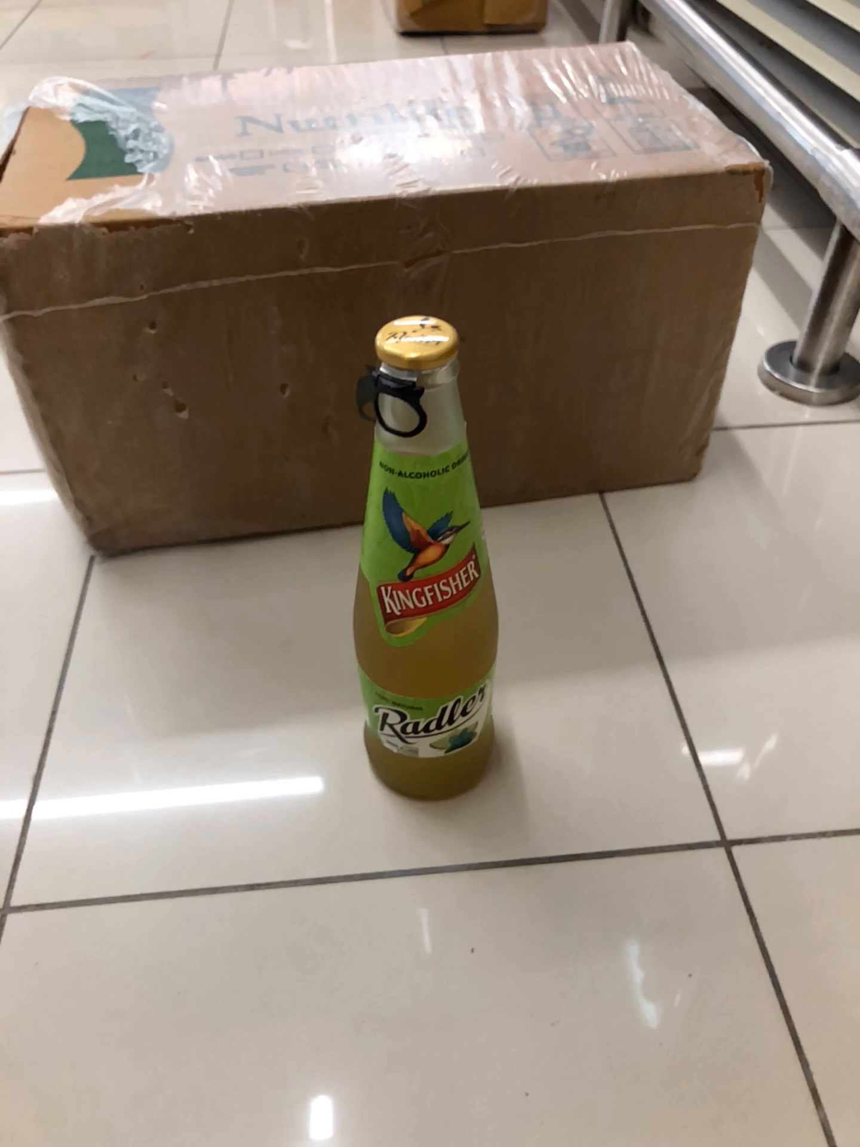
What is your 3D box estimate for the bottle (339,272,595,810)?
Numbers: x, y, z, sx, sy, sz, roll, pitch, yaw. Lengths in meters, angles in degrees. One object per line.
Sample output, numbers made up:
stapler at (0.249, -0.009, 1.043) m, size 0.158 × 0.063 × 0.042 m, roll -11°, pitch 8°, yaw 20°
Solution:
bottle at (0.010, 0.001, 0.360) m, size 0.070 × 0.209 × 0.060 m, roll -5°, pitch 43°, yaw -4°
